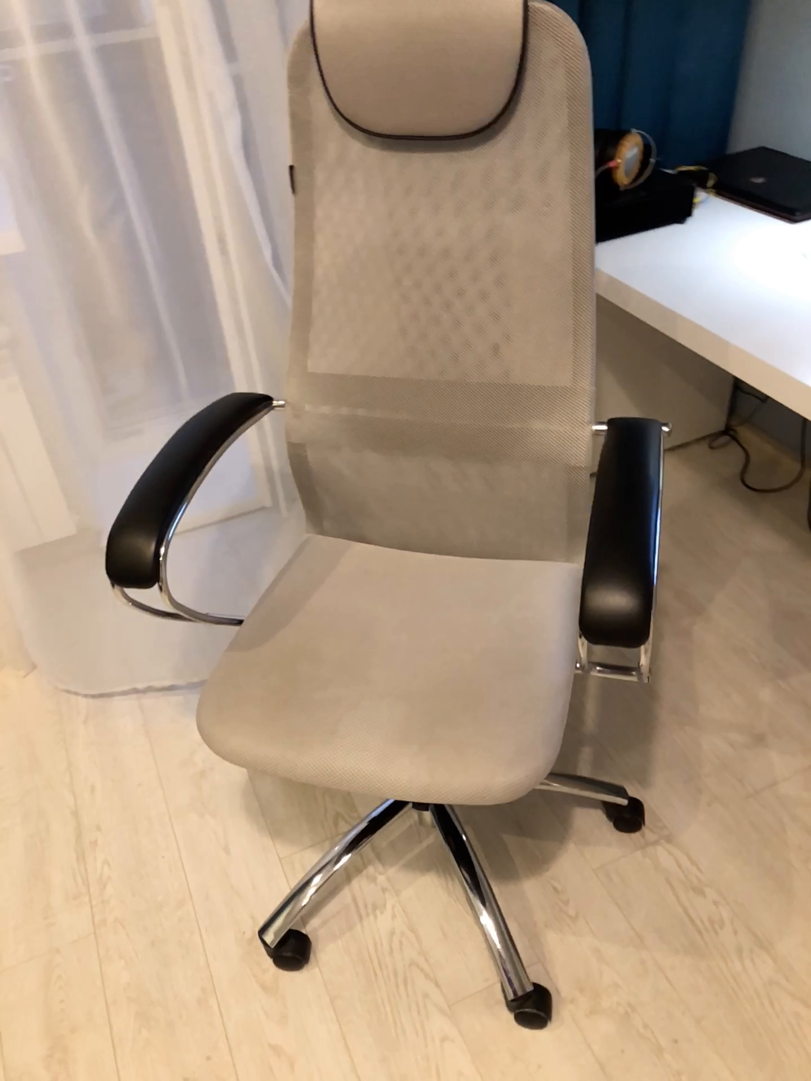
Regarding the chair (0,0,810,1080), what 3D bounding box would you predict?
[{"bbox_3d":[0.025,0.020,1.212,0.690,1.291,0.685,5,39,14],"label":"chair"}]
